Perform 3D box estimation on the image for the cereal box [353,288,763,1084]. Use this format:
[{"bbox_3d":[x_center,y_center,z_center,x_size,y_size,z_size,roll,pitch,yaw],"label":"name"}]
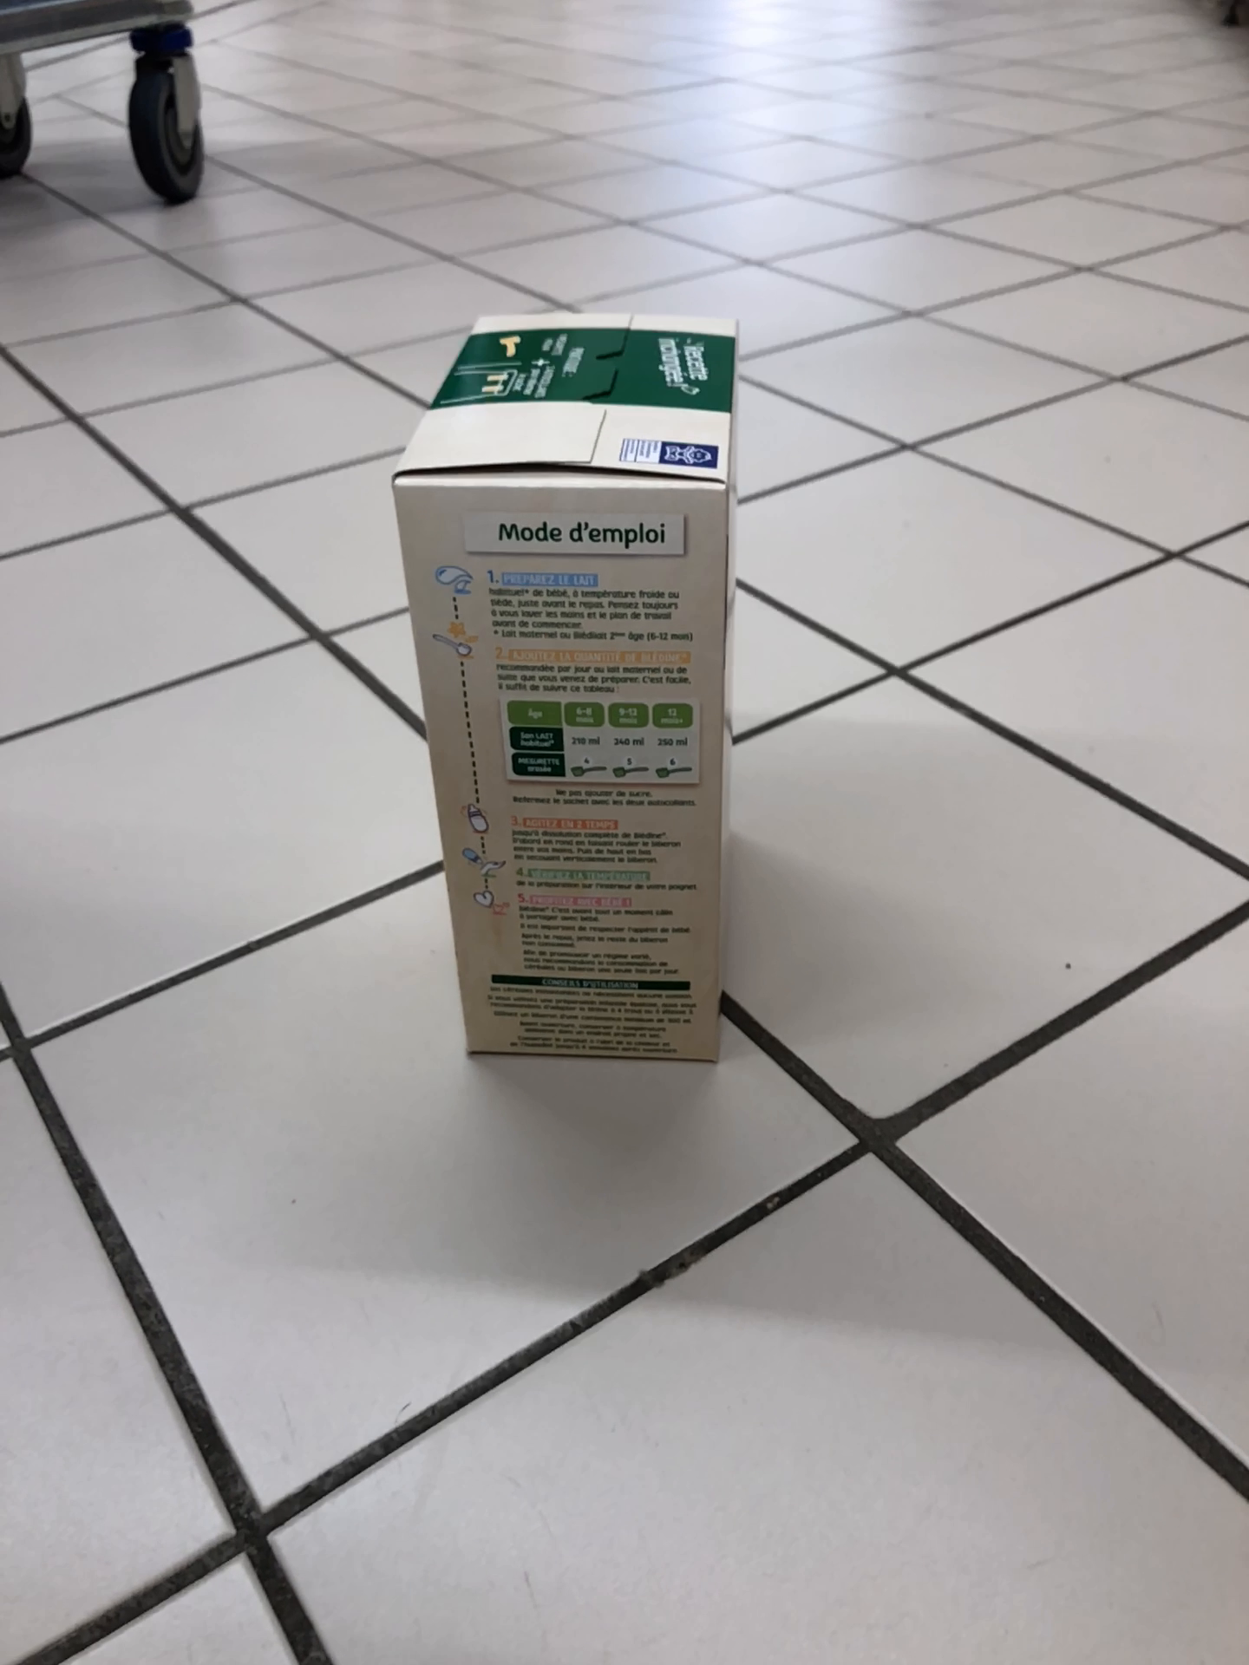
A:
[{"bbox_3d":[-0.008,-0.044,0.421,0.090,0.199,0.131,2,37,5],"label":"cereal box"}]
